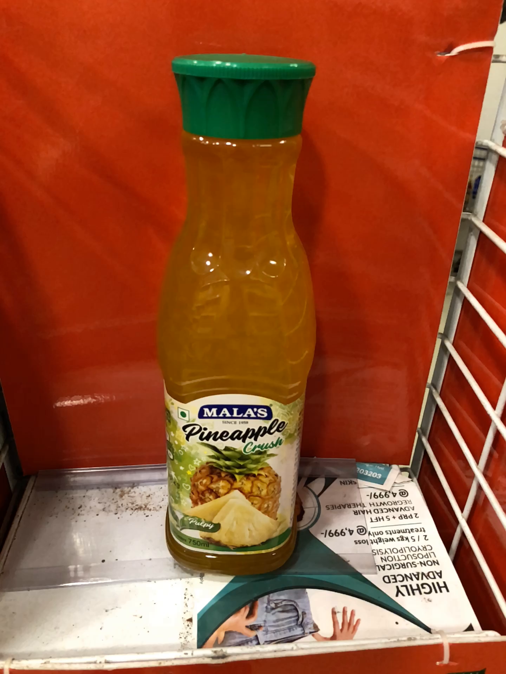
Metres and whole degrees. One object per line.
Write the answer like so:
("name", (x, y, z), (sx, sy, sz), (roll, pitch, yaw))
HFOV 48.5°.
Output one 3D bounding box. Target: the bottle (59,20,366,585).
("bottle", (-0.015, 0.003, 0.262), (0.090, 0.258, 0.070), (1, 31, -1))
